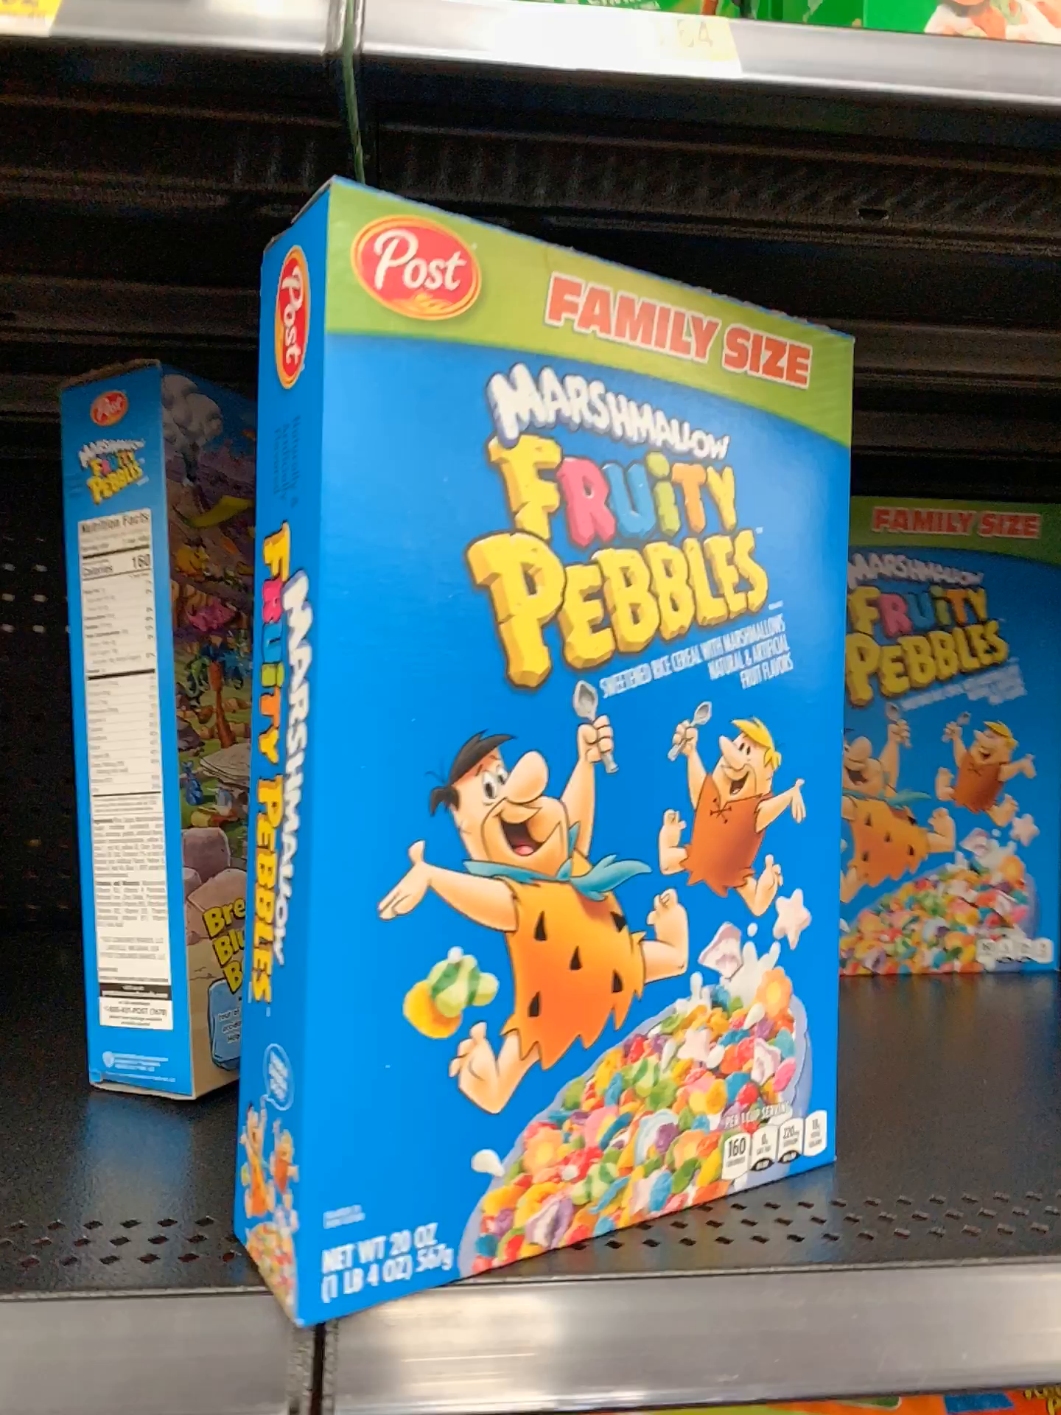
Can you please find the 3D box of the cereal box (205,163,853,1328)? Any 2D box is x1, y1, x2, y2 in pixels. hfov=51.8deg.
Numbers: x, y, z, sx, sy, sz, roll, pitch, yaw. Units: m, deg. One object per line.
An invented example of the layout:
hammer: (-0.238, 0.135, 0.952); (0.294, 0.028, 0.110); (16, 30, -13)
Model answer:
cereal box: (0.011, 0.012, 0.403); (0.230, 0.330, 0.070); (2, -1, -34)
